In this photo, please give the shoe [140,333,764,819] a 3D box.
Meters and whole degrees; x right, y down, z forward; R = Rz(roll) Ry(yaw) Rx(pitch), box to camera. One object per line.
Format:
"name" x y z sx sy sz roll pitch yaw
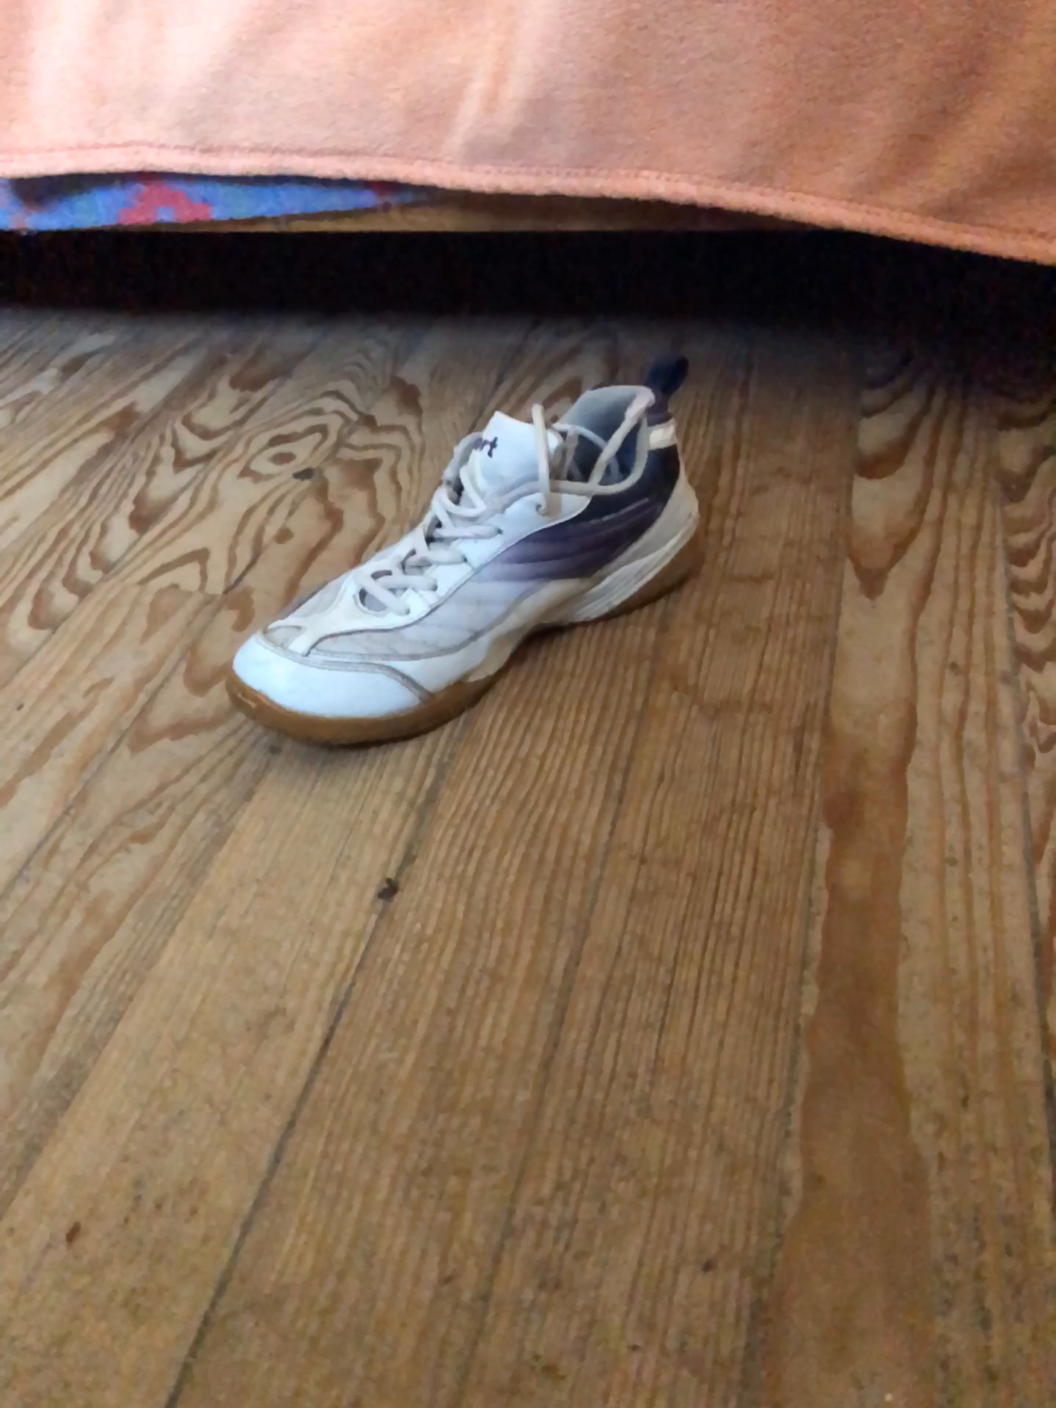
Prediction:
"shoe" -0.025 -0.072 0.548 0.261 0.099 0.110 -28 44 -23
